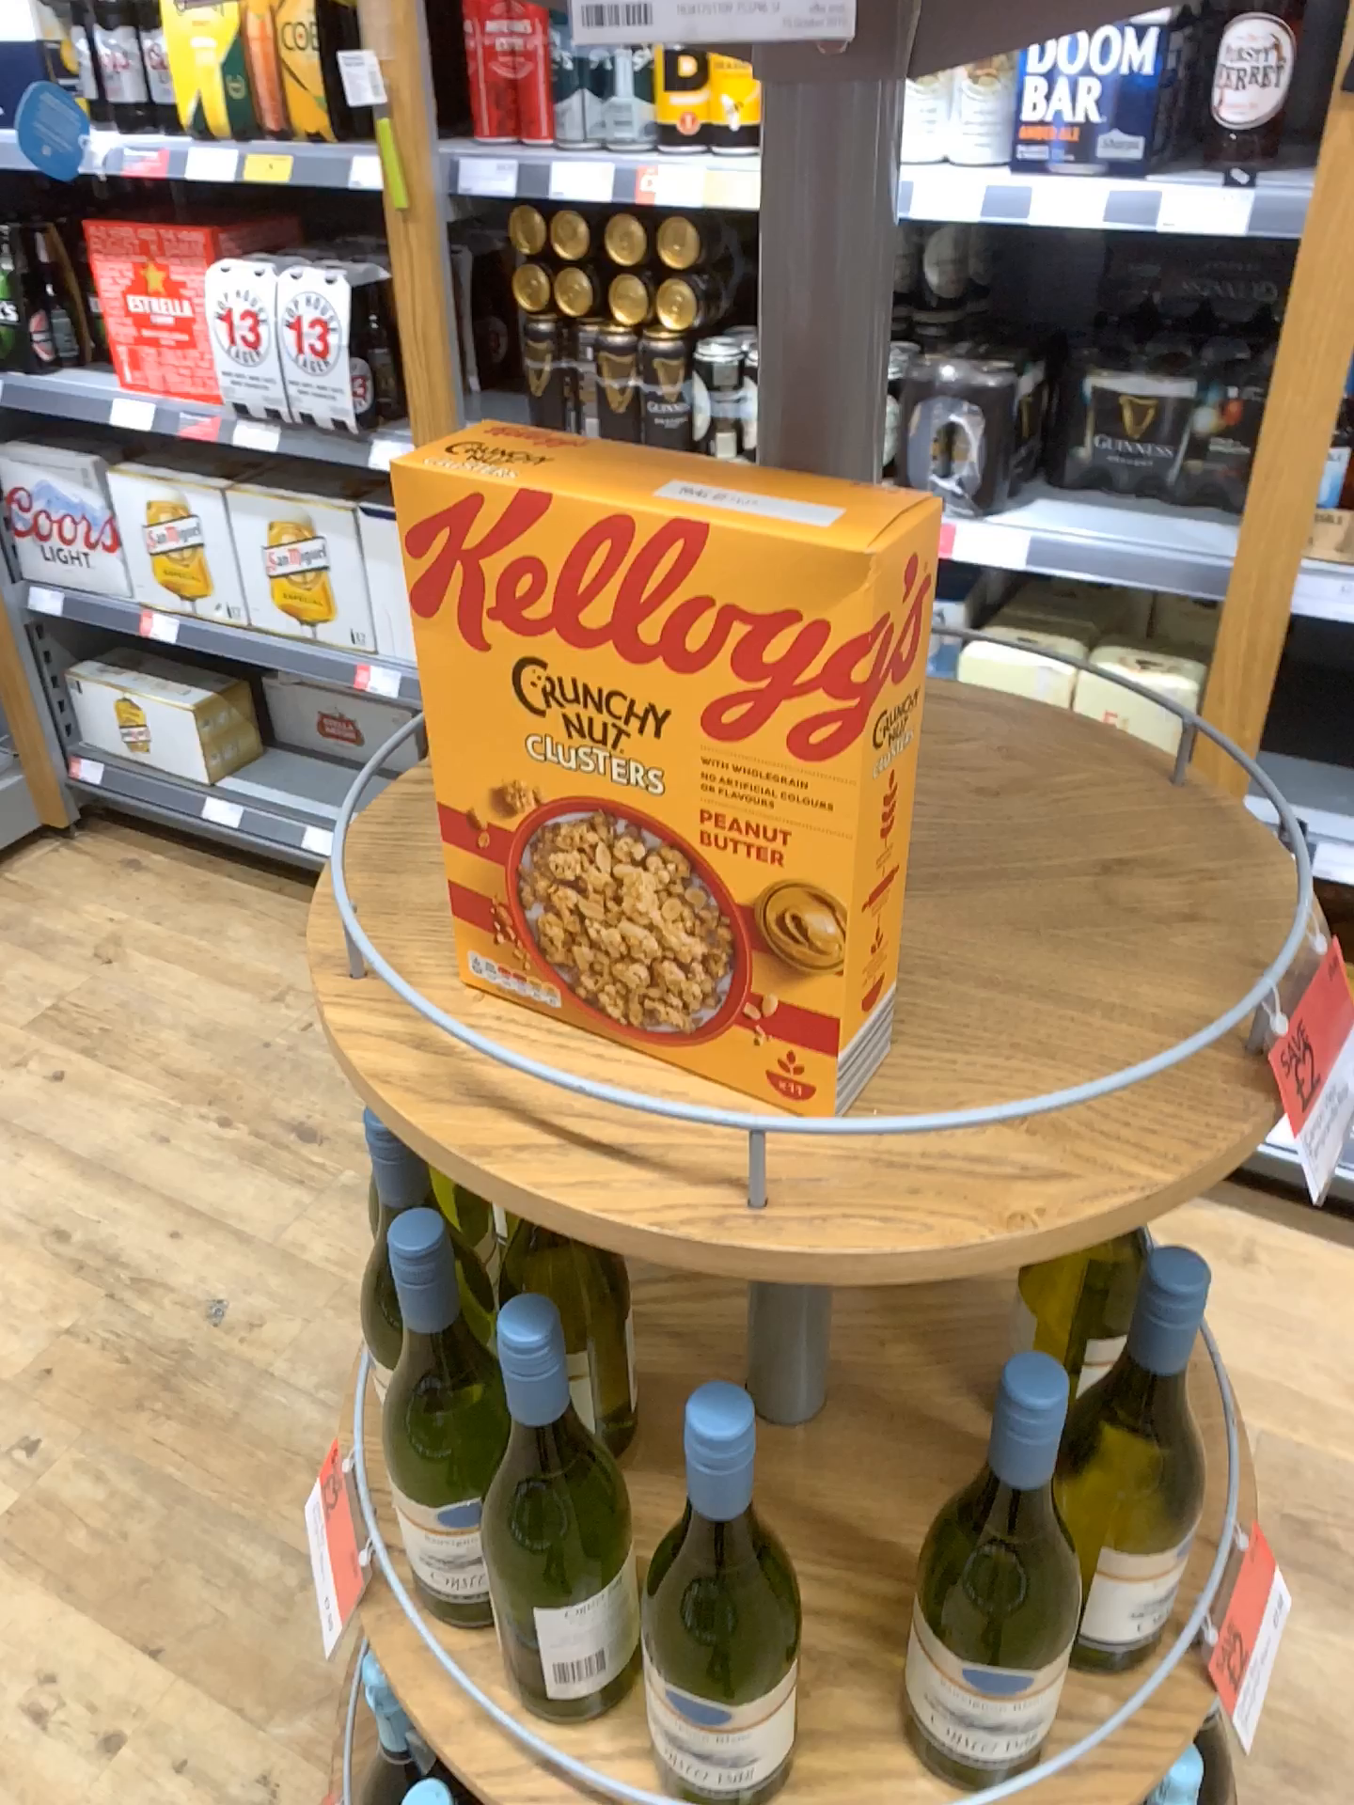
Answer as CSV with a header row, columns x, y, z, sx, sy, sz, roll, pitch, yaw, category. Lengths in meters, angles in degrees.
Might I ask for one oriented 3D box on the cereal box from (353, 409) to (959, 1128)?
x,y,z,sx,sy,sz,roll,pitch,yaw,category
-0.010,-0.053,0.548,0.211,0.238,0.060,17,38,26,cereal box
